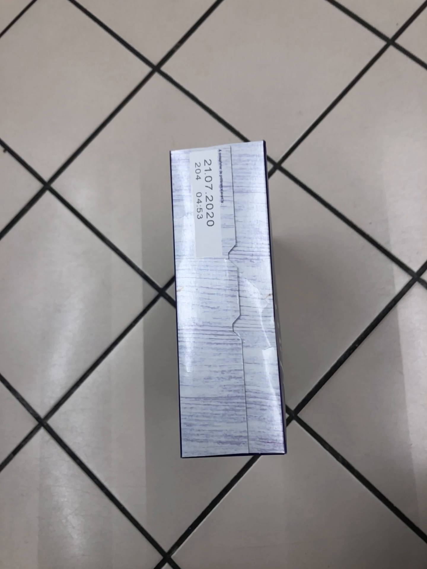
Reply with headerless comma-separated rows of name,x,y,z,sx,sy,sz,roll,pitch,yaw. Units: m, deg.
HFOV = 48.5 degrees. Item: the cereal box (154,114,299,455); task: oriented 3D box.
cereal box,0.021,0.016,0.422,0.080,0.260,0.210,-4,80,7
